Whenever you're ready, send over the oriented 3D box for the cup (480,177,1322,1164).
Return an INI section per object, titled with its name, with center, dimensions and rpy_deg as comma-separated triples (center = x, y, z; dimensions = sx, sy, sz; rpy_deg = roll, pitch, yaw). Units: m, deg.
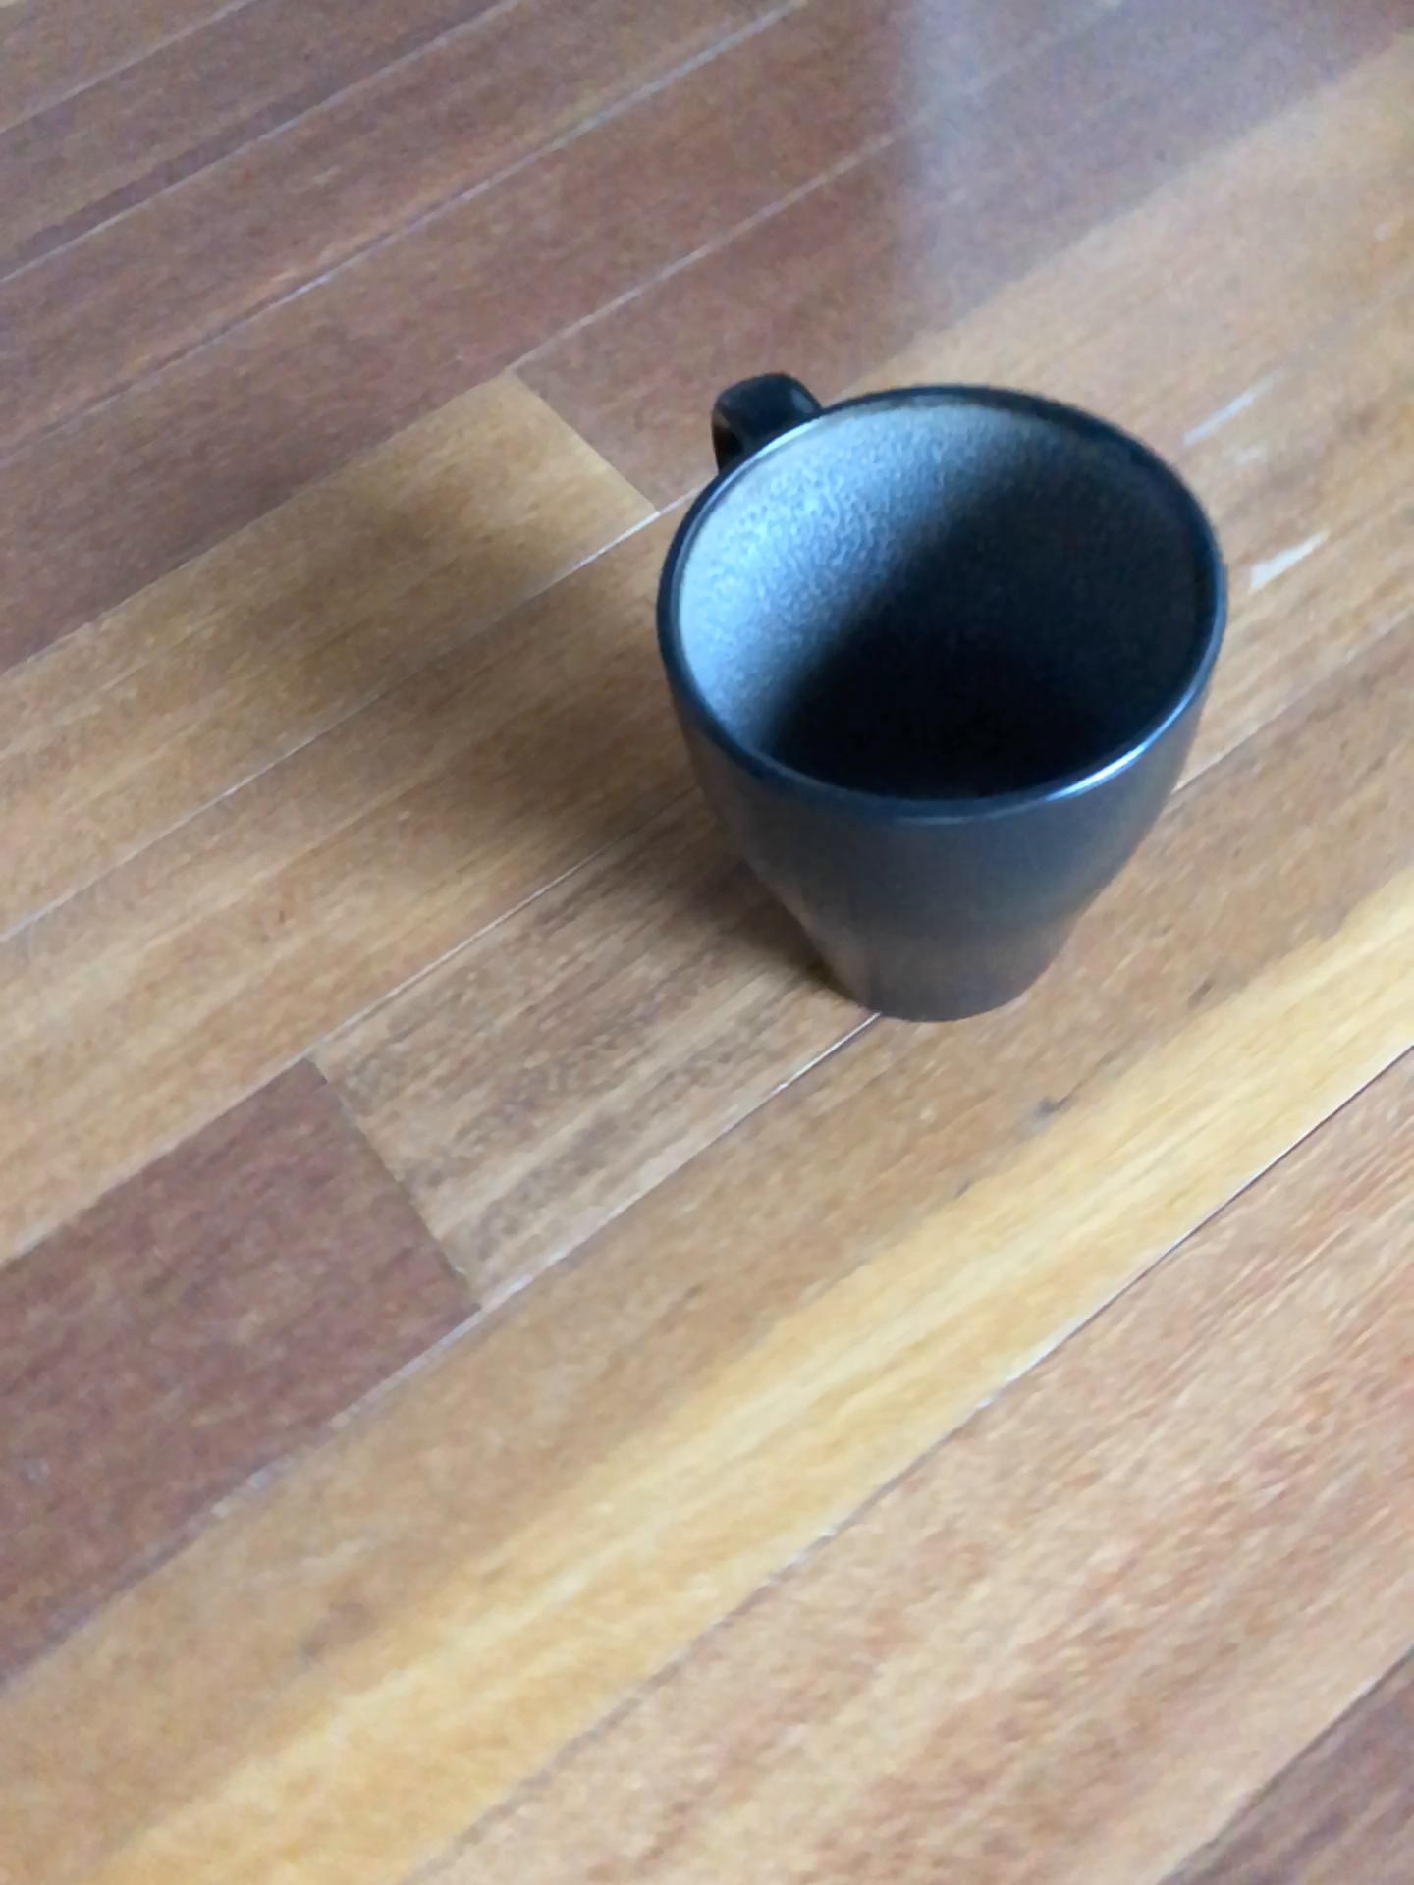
[cup]
center = 0.030, -0.051, 0.303
dimensions = 0.090, 0.100, 0.137
rpy_deg = -22, 61, -5
